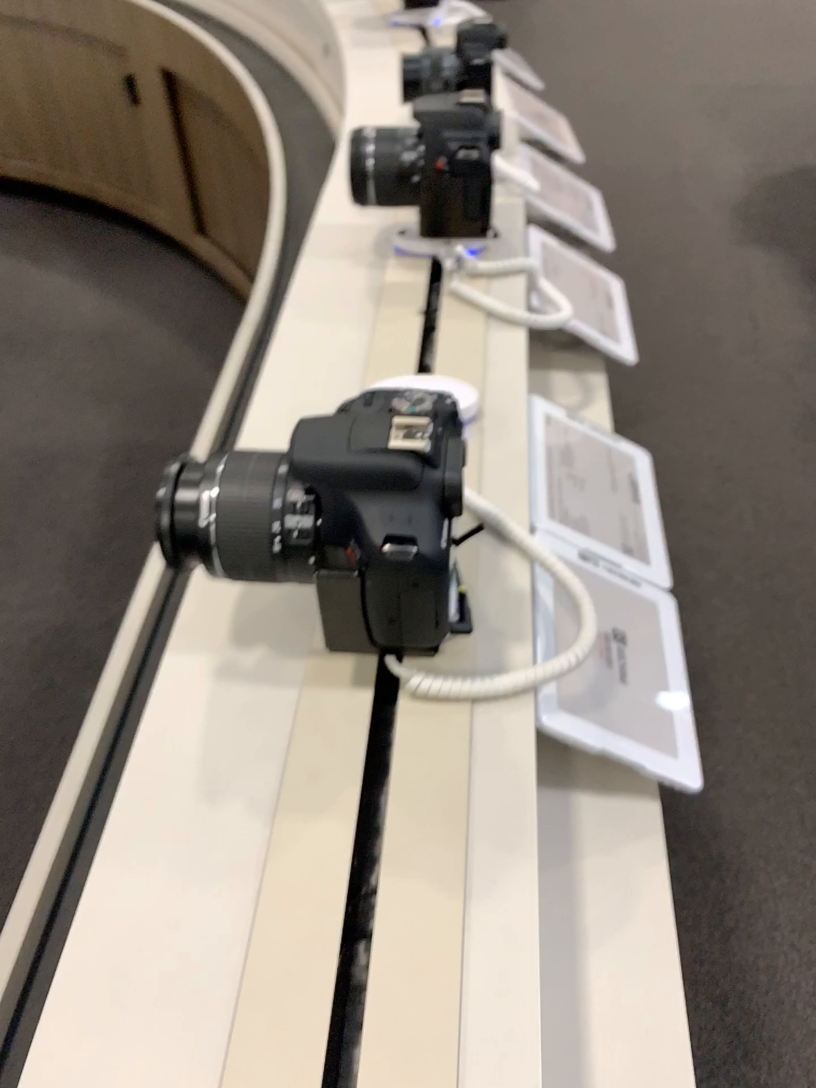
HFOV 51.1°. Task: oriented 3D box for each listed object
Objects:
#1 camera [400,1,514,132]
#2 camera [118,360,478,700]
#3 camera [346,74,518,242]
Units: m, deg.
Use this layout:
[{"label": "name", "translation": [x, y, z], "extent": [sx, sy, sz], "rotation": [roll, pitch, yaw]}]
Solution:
[{"label": "camera", "translation": [0.050, -0.507, 0.905], "extent": [0.111, 0.088, 0.112], "rotation": [-1, 47, 2]}, {"label": "camera", "translation": [-0.041, -0.010, 0.435], "extent": [0.145, 0.101, 0.135], "rotation": [3, 47, 5]}, {"label": "camera", "translation": [0.020, -0.337, 0.743], "extent": [0.135, 0.089, 0.122], "rotation": [-1, 47, 2]}]
